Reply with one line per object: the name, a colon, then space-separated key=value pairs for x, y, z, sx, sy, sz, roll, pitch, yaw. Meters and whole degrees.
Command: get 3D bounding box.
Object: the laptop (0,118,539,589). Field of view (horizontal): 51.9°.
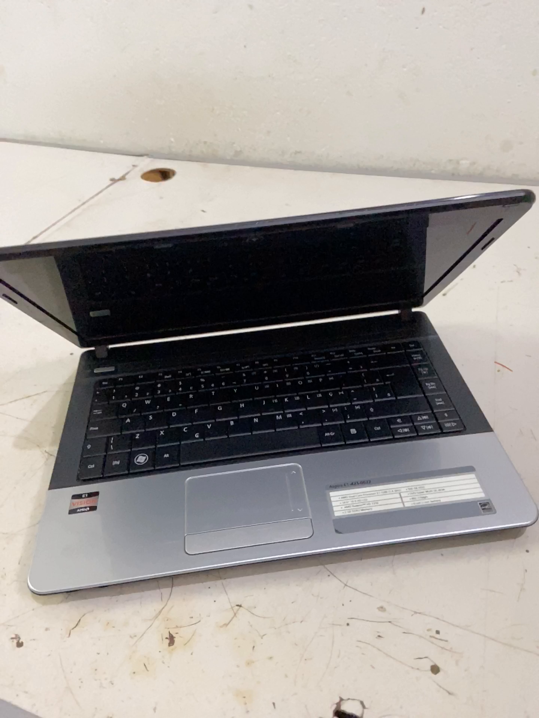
laptop: x=-0.005 y=-0.021 z=0.392 sx=0.334 sy=0.184 sz=0.239 roll=-7 pitch=41 yaw=-3
